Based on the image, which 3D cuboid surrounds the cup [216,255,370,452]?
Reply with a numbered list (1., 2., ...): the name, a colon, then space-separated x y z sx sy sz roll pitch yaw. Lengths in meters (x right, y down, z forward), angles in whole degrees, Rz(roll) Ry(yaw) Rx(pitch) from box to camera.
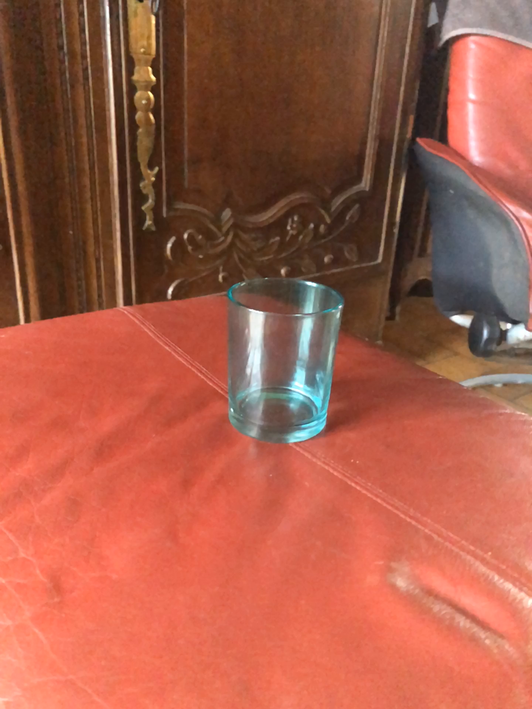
1. cup: 0.017 -0.004 0.363 0.070 0.090 0.070 3 25 -1
